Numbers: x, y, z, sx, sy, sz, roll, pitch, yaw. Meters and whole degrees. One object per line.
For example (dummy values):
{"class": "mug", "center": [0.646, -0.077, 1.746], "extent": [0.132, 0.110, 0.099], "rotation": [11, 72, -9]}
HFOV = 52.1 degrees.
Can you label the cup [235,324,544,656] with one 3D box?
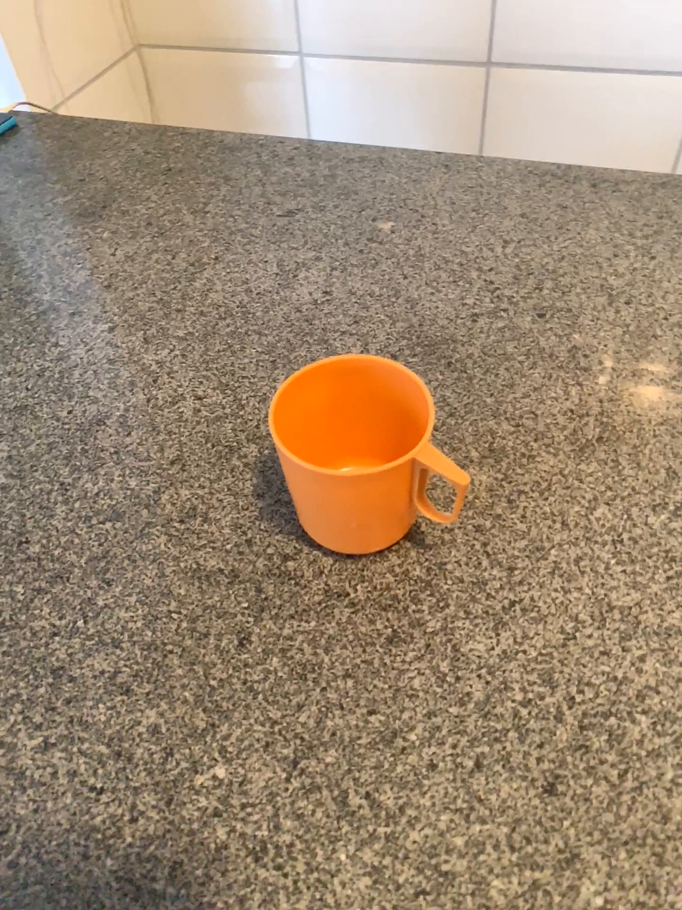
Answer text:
{"class": "cup", "center": [0.021, 0.014, 0.338], "extent": [0.080, 0.090, 0.110], "rotation": [-37, 56, -25]}
